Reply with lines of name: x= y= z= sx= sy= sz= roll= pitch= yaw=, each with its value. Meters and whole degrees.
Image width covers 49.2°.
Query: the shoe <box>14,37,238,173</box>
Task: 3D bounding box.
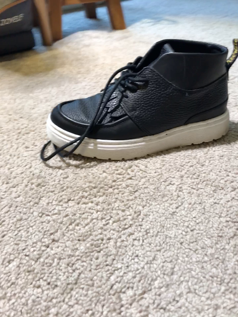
shoe: x=0.024 y=-0.075 z=0.334 sx=0.262 sy=0.111 sz=0.107 roll=-7 pitch=39 yaw=-6
